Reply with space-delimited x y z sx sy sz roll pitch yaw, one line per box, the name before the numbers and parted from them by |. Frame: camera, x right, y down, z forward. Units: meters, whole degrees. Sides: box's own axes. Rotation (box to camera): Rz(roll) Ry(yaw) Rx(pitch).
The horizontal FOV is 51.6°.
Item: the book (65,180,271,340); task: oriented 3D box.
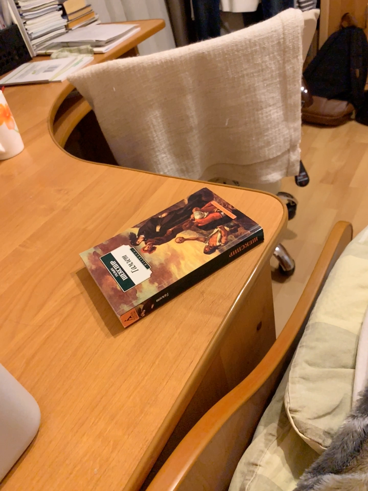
book | -0.019 0.004 0.417 0.190 0.030 0.121 -29 43 -17
